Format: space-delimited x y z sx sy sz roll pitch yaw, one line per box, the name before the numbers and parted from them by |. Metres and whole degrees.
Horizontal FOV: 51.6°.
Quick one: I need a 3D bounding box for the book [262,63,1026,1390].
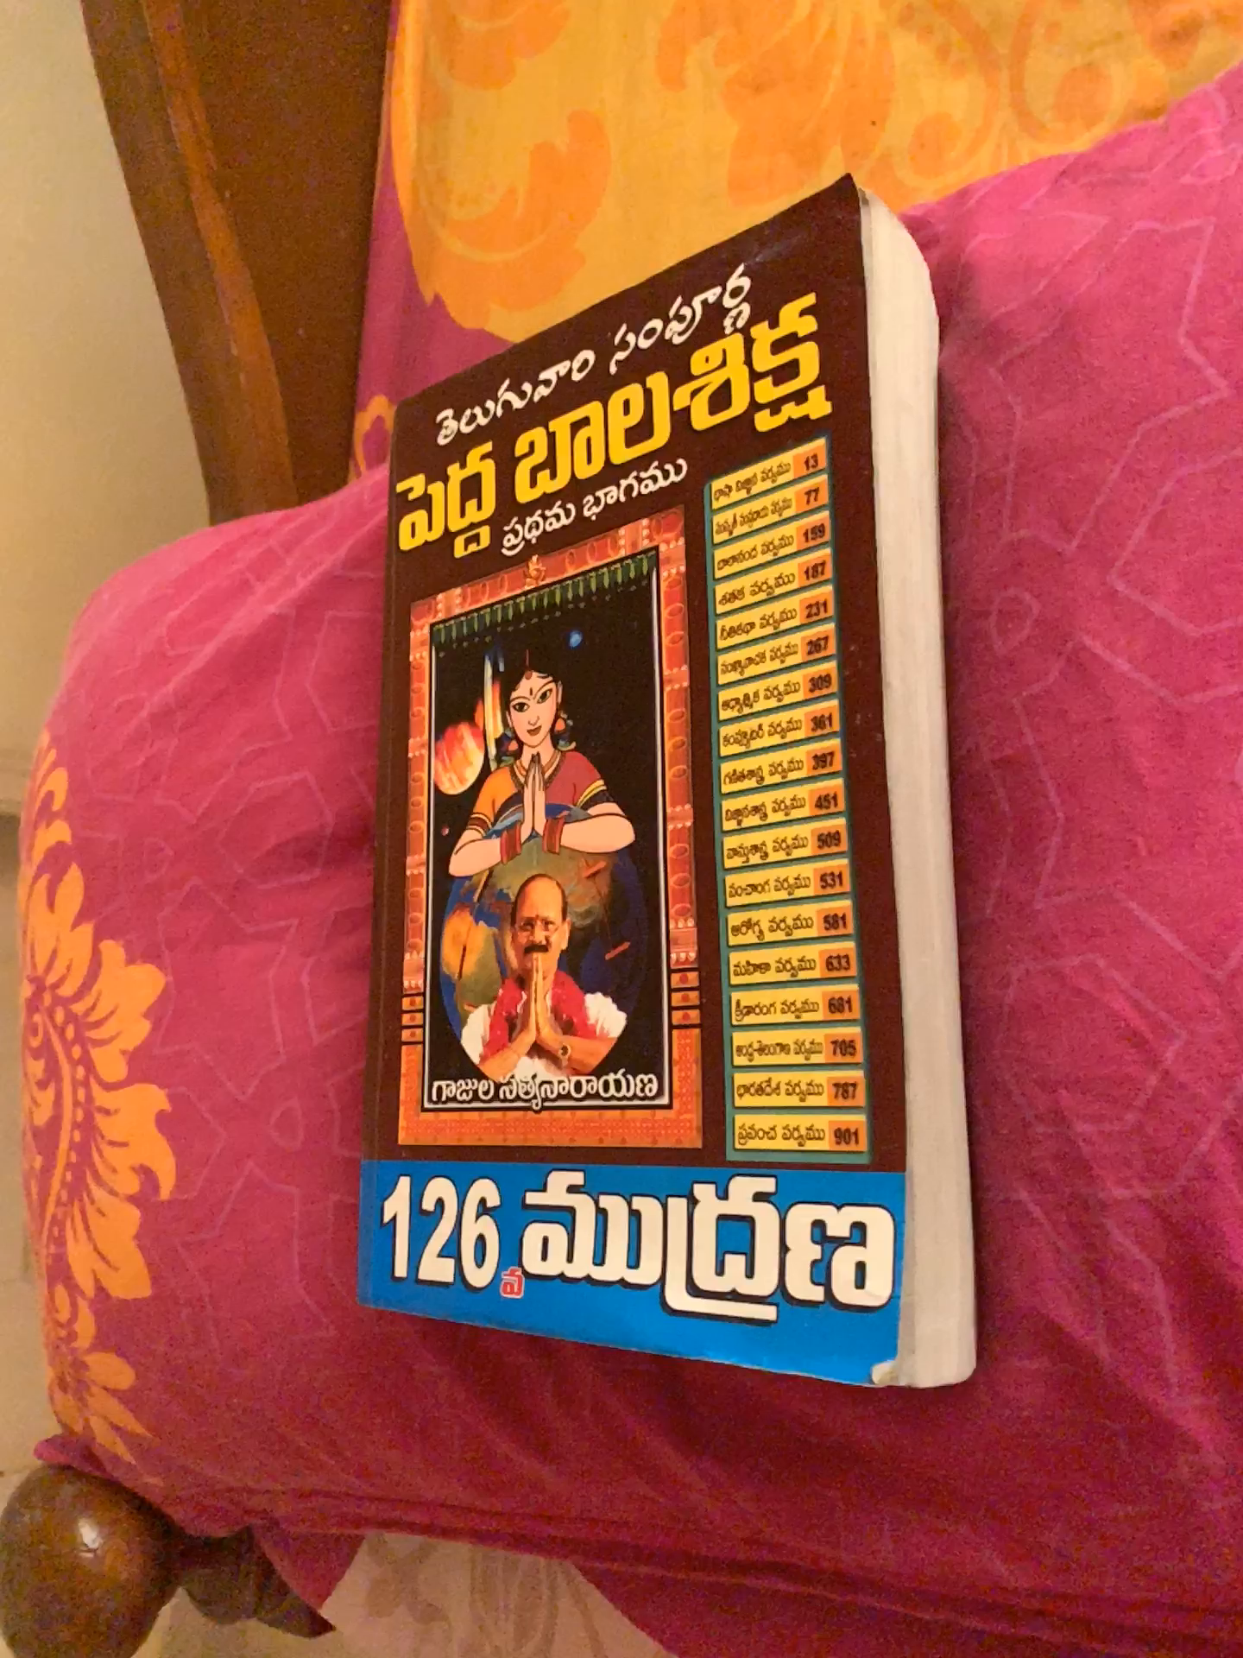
book | -0.005 -0.018 0.317 0.181 0.050 0.260 -10 73 39
